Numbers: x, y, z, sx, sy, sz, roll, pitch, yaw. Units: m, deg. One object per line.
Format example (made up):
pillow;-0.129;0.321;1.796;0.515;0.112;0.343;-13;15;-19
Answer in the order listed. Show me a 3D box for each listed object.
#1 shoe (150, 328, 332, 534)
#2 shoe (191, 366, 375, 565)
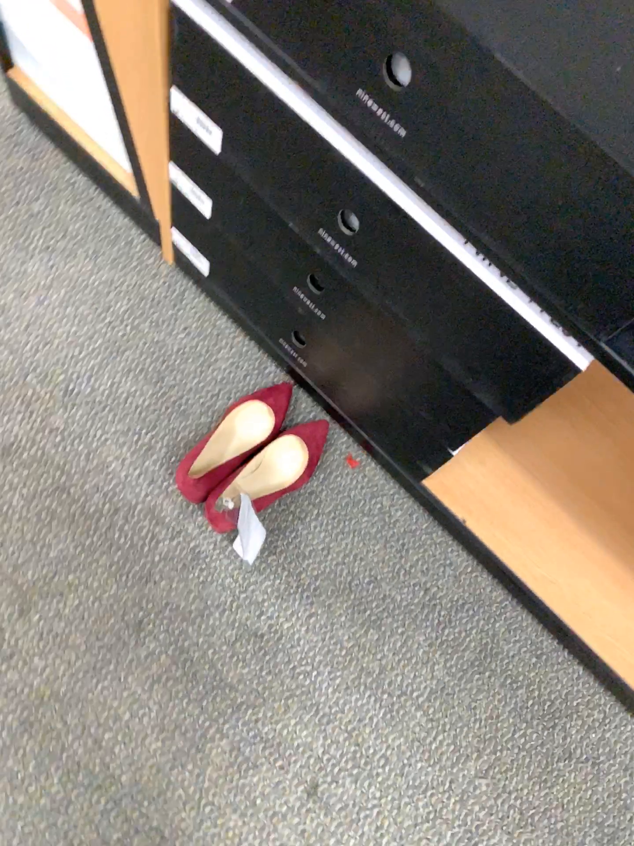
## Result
shoe;-0.110;0.018;0.922;0.090;0.200;0.250;41;68;5
shoe;-0.056;0.067;0.921;0.090;0.200;0.250;44;69;6
